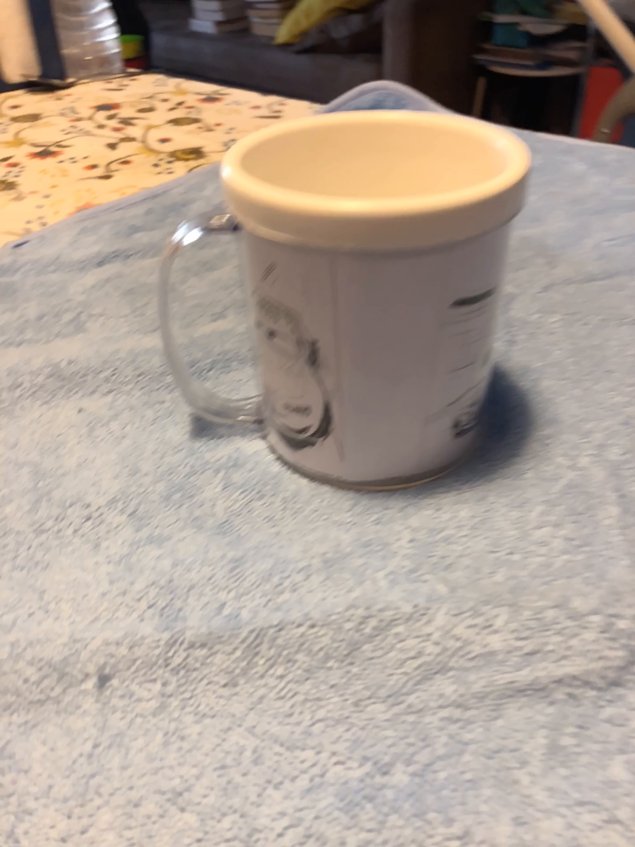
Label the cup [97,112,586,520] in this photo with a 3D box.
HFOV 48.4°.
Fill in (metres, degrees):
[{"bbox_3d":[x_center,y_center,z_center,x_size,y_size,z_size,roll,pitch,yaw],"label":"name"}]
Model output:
[{"bbox_3d":[0.005,-0.039,0.239,0.120,0.099,0.091,-3,38,-2],"label":"cup"}]
